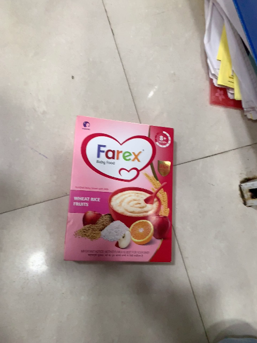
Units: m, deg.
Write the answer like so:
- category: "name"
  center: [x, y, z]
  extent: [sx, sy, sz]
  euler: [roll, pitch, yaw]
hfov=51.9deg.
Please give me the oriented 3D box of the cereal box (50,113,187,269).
- category: "cereal box"
  center: [-0.009, 0.030, 0.363]
  extent: [0.170, 0.050, 0.190]
  euler: [5, 80, -13]
